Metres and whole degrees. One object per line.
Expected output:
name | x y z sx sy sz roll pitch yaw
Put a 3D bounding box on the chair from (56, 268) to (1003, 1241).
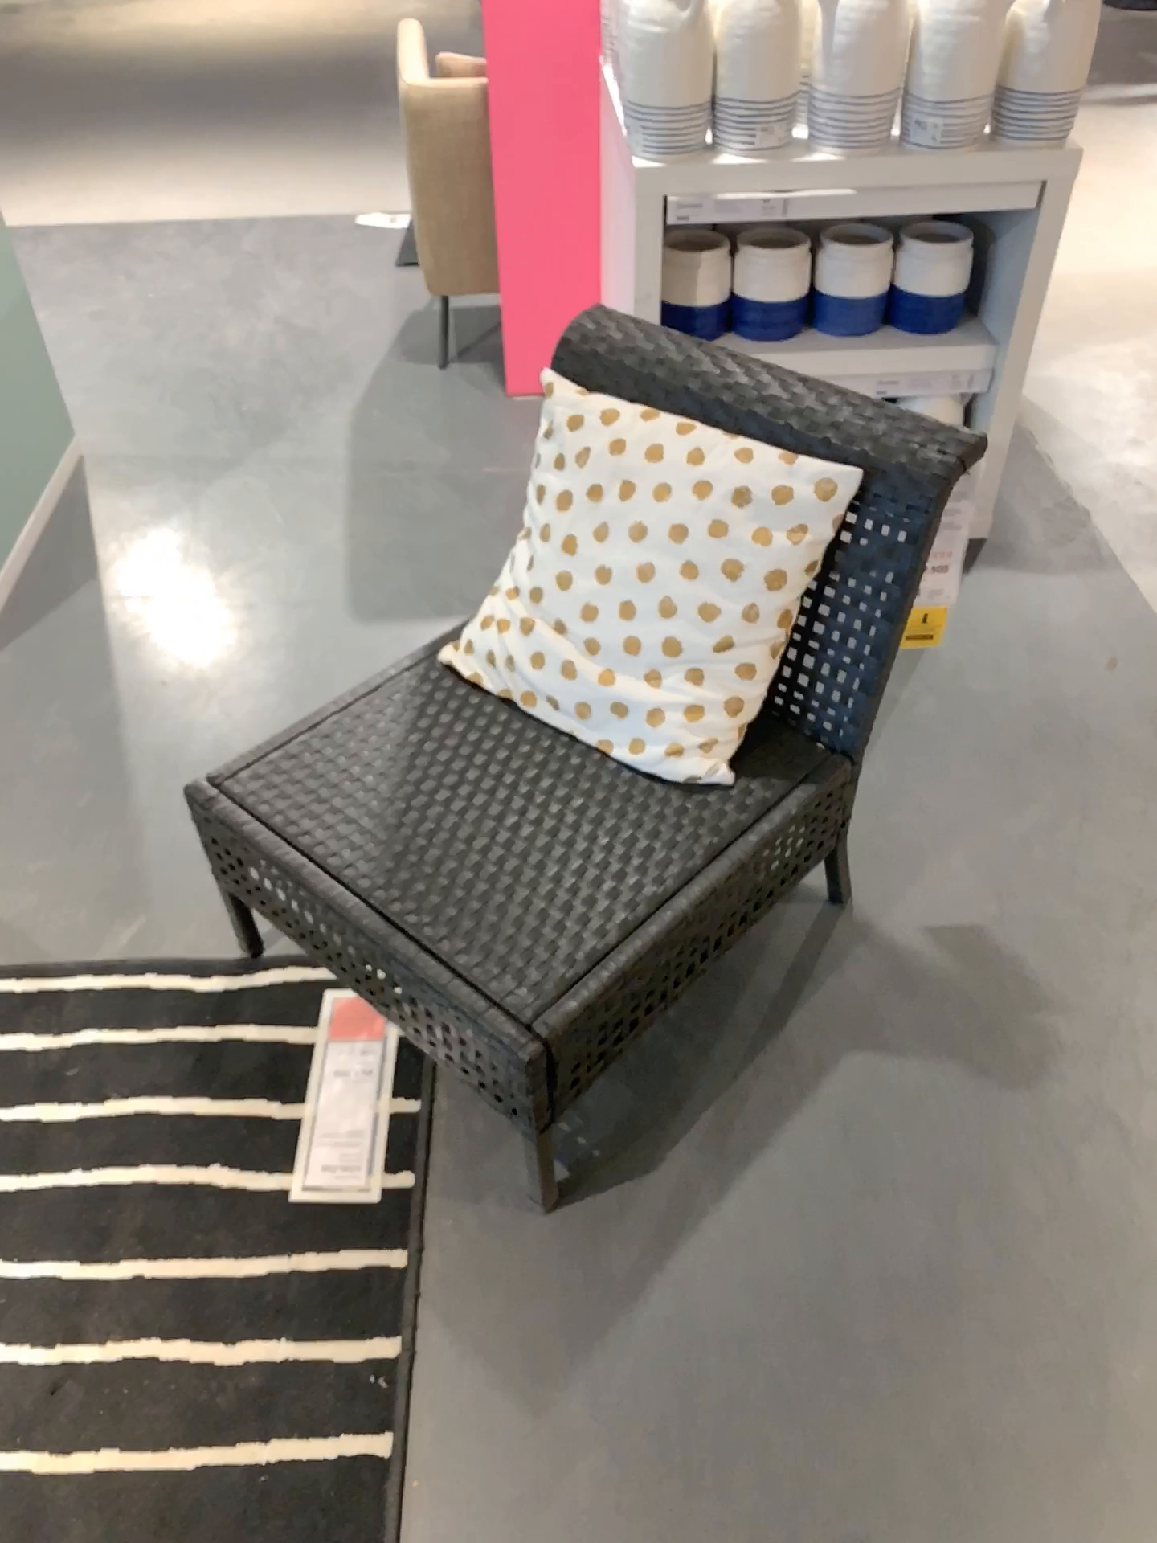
chair | -0.035 -0.071 1.581 0.701 0.797 0.781 31 52 31
